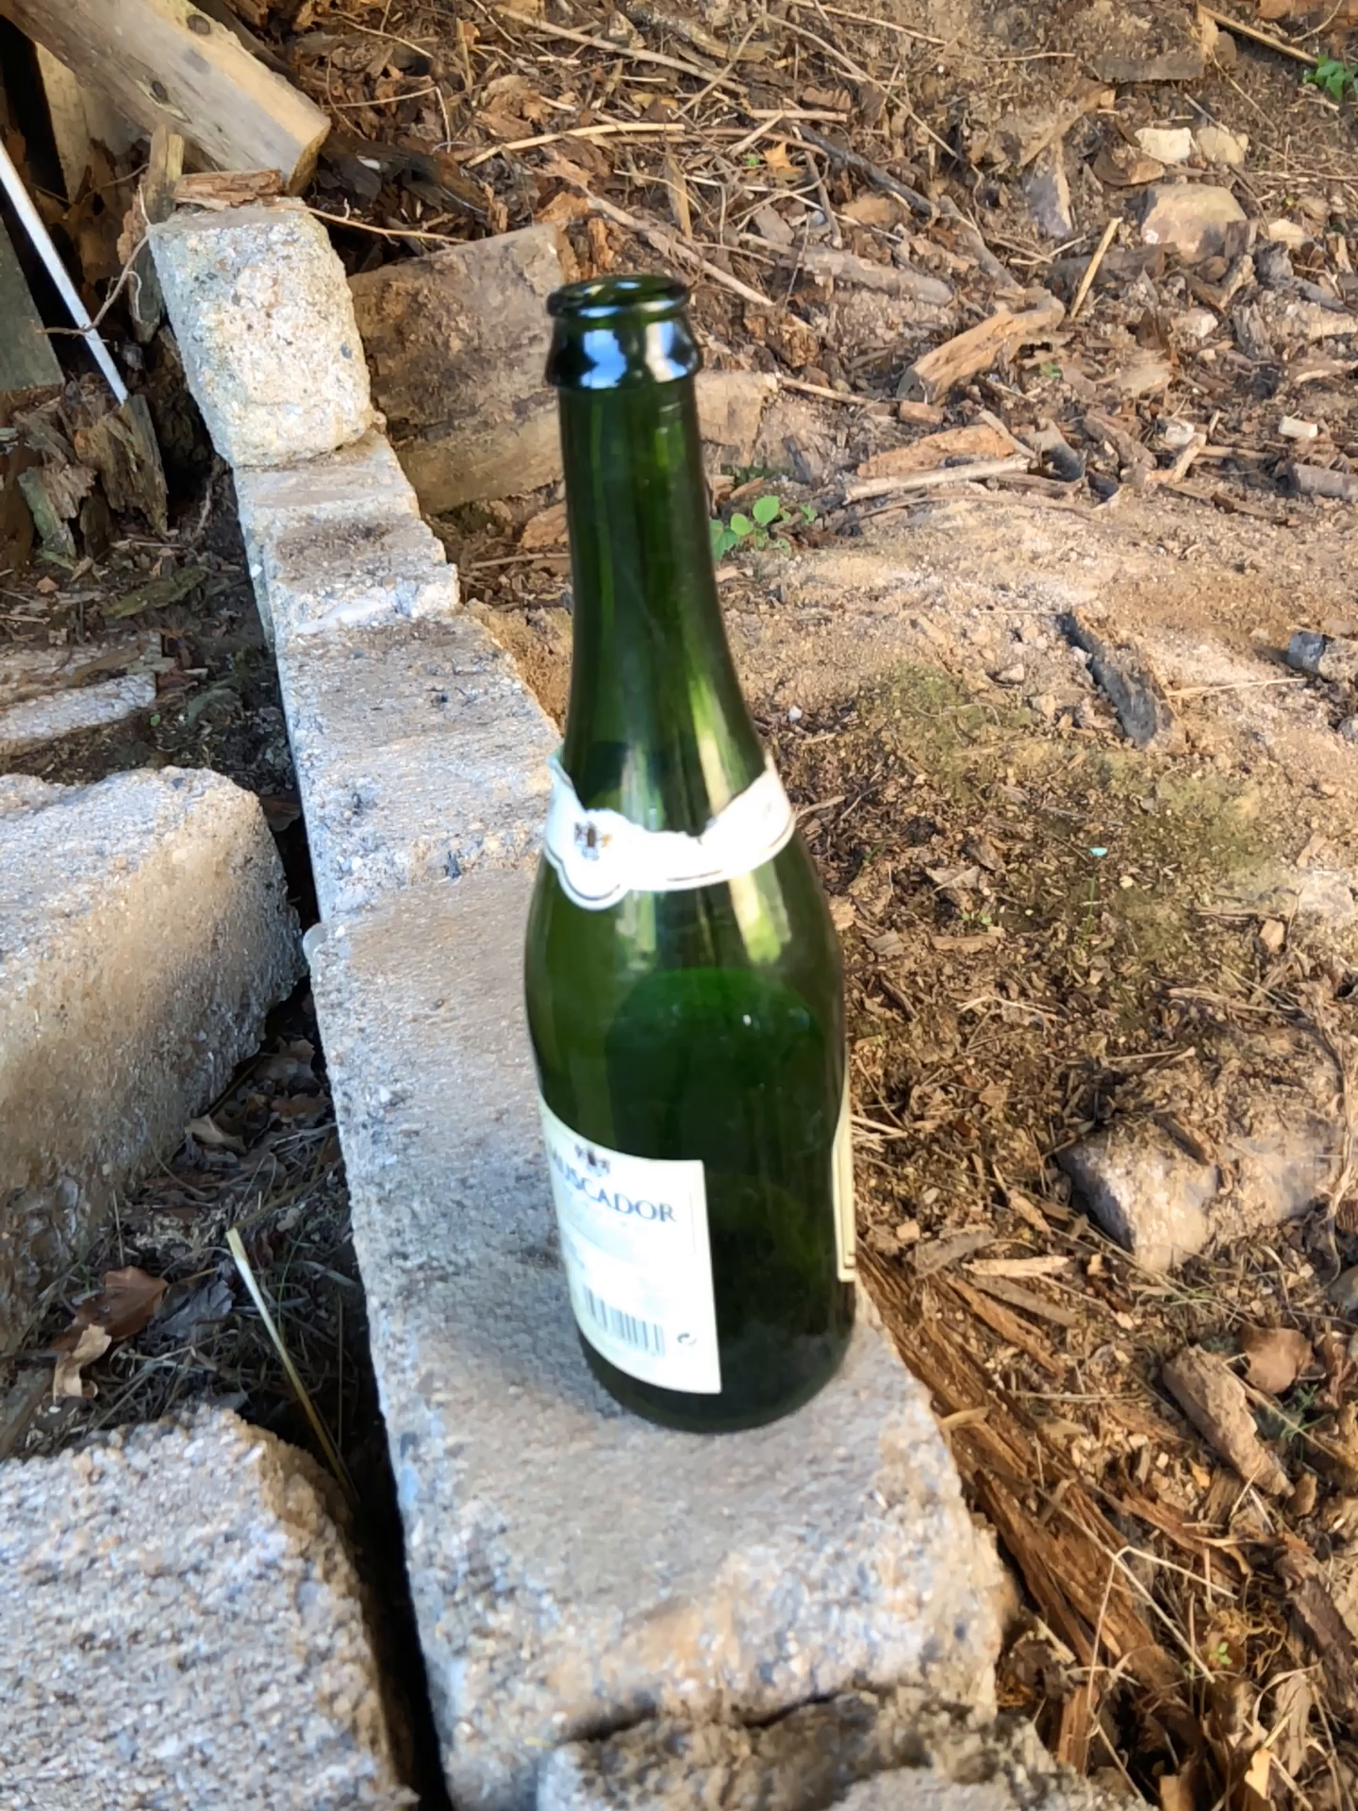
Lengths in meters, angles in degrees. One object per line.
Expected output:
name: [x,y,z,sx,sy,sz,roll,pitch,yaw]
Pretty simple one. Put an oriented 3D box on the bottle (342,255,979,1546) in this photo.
bottle: [0.004,0.004,0.362,0.090,0.288,0.090,-3,29,2]
